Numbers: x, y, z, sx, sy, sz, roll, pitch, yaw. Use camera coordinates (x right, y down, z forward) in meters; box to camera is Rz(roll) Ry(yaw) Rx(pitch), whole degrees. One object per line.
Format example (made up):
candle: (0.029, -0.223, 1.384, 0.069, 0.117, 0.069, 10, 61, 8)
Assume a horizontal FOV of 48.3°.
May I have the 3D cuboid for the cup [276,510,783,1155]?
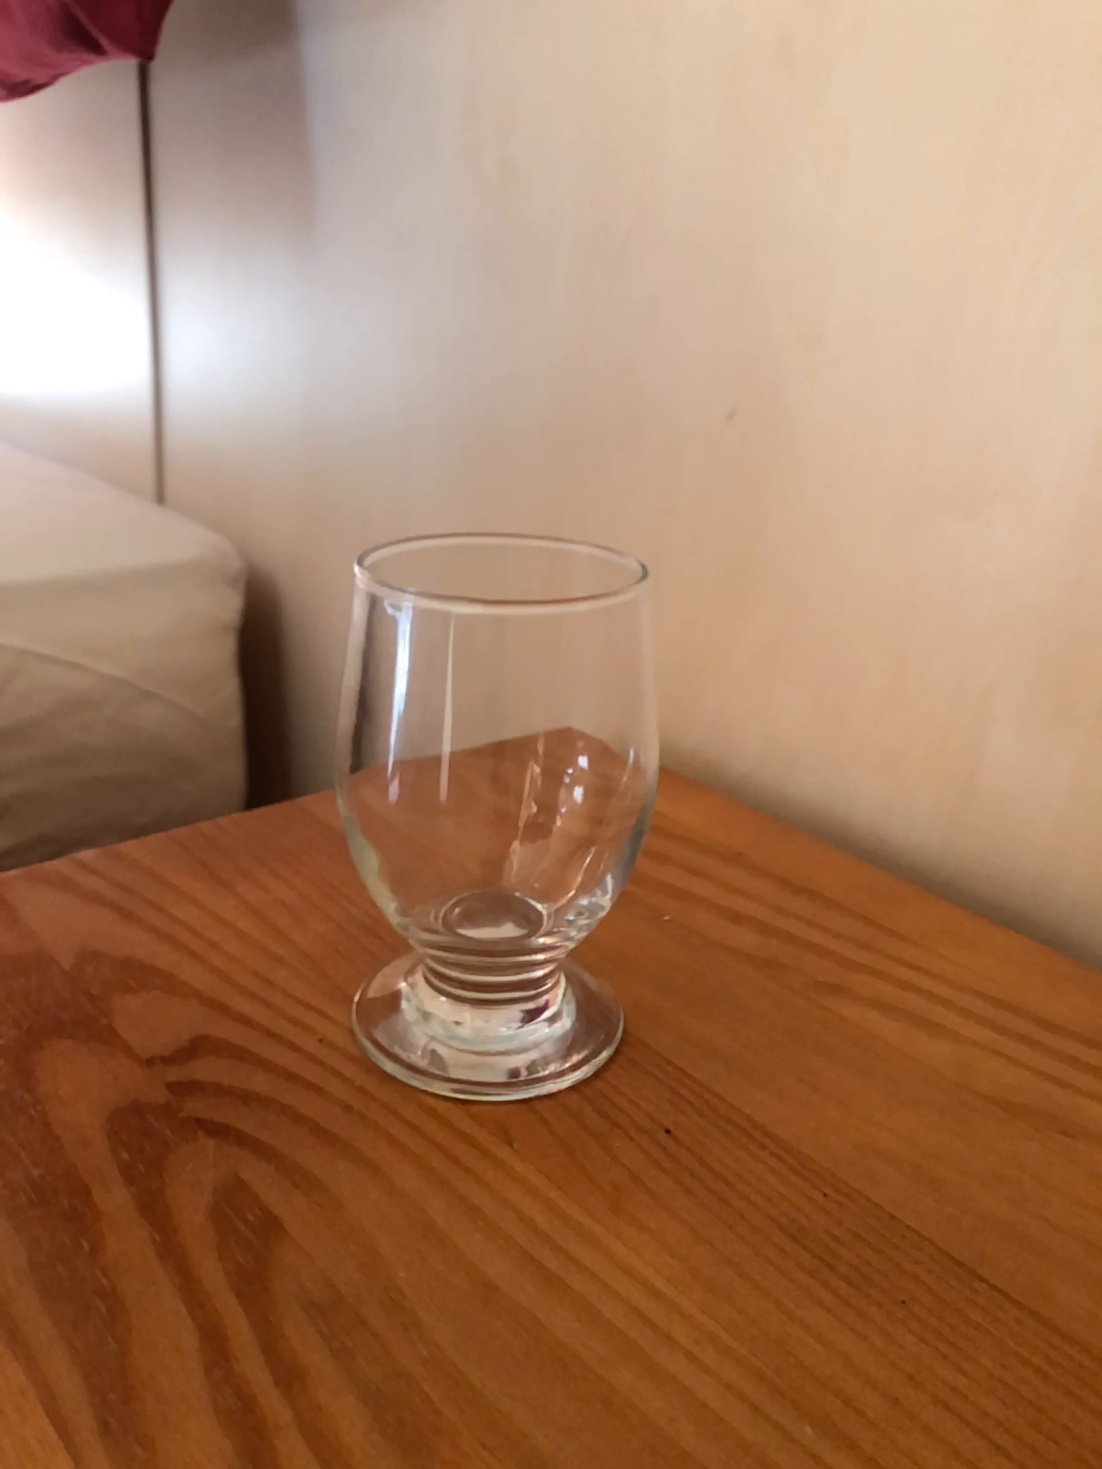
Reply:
cup: (-0.005, 0.014, 0.278, 0.078, 0.107, 0.082, 4, 21, -2)
